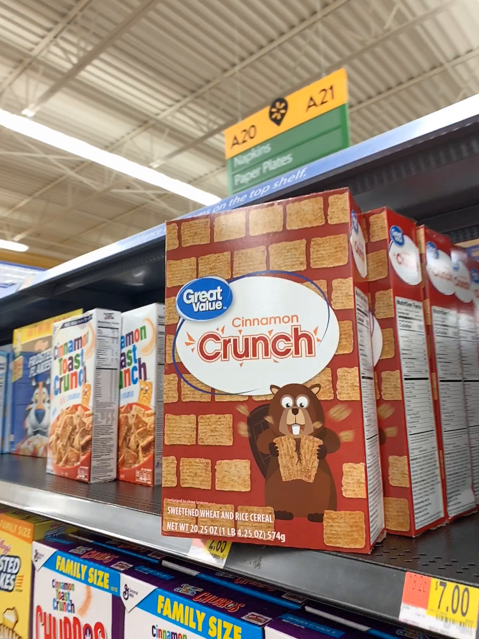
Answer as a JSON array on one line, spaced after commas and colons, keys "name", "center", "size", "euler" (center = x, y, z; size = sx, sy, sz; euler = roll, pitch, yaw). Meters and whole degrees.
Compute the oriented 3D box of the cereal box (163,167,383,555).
[{"name": "cereal box", "center": [0.029, 0.035, 0.485], "size": [0.190, 0.331, 0.070], "euler": [-4, -11, 20]}]
